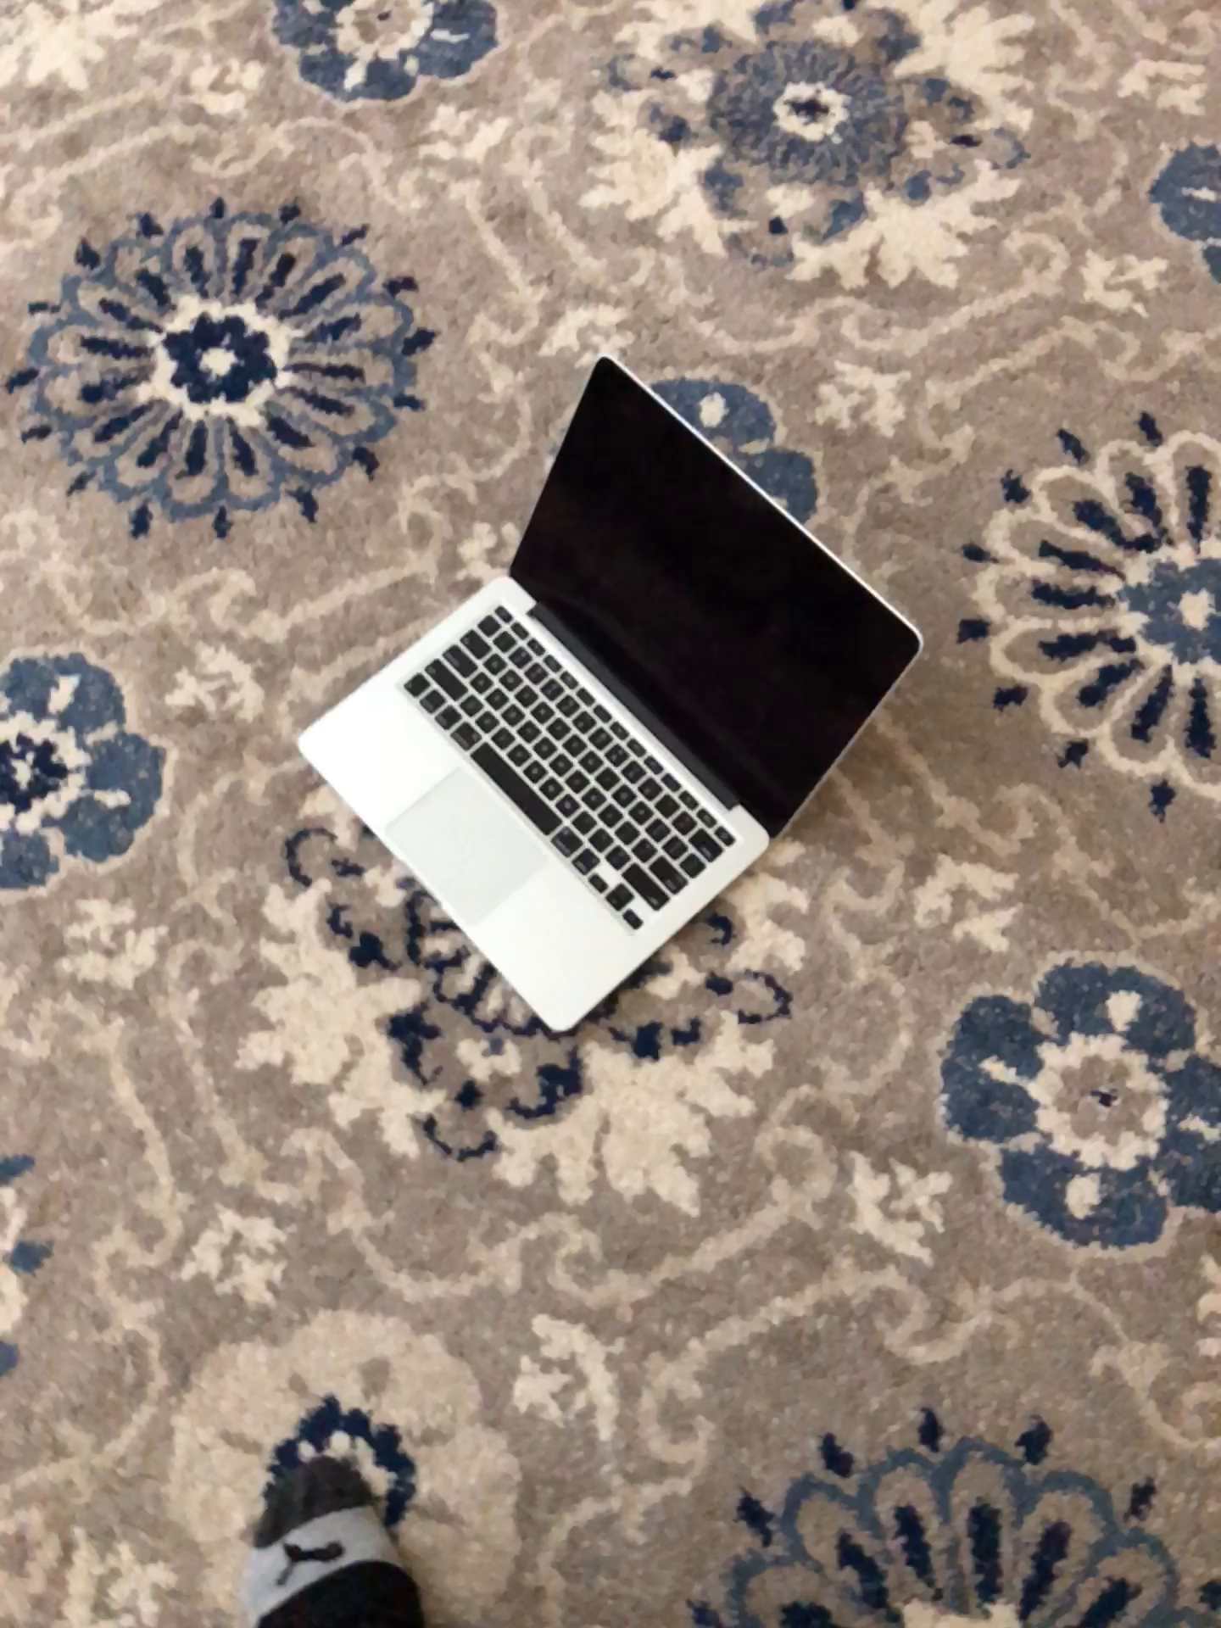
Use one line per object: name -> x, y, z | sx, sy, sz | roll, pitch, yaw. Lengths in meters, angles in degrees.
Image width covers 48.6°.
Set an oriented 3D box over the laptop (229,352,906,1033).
laptop -> -0.024, -0.084, 0.947 | 0.322, 0.171, 0.300 | -41, 75, -13
